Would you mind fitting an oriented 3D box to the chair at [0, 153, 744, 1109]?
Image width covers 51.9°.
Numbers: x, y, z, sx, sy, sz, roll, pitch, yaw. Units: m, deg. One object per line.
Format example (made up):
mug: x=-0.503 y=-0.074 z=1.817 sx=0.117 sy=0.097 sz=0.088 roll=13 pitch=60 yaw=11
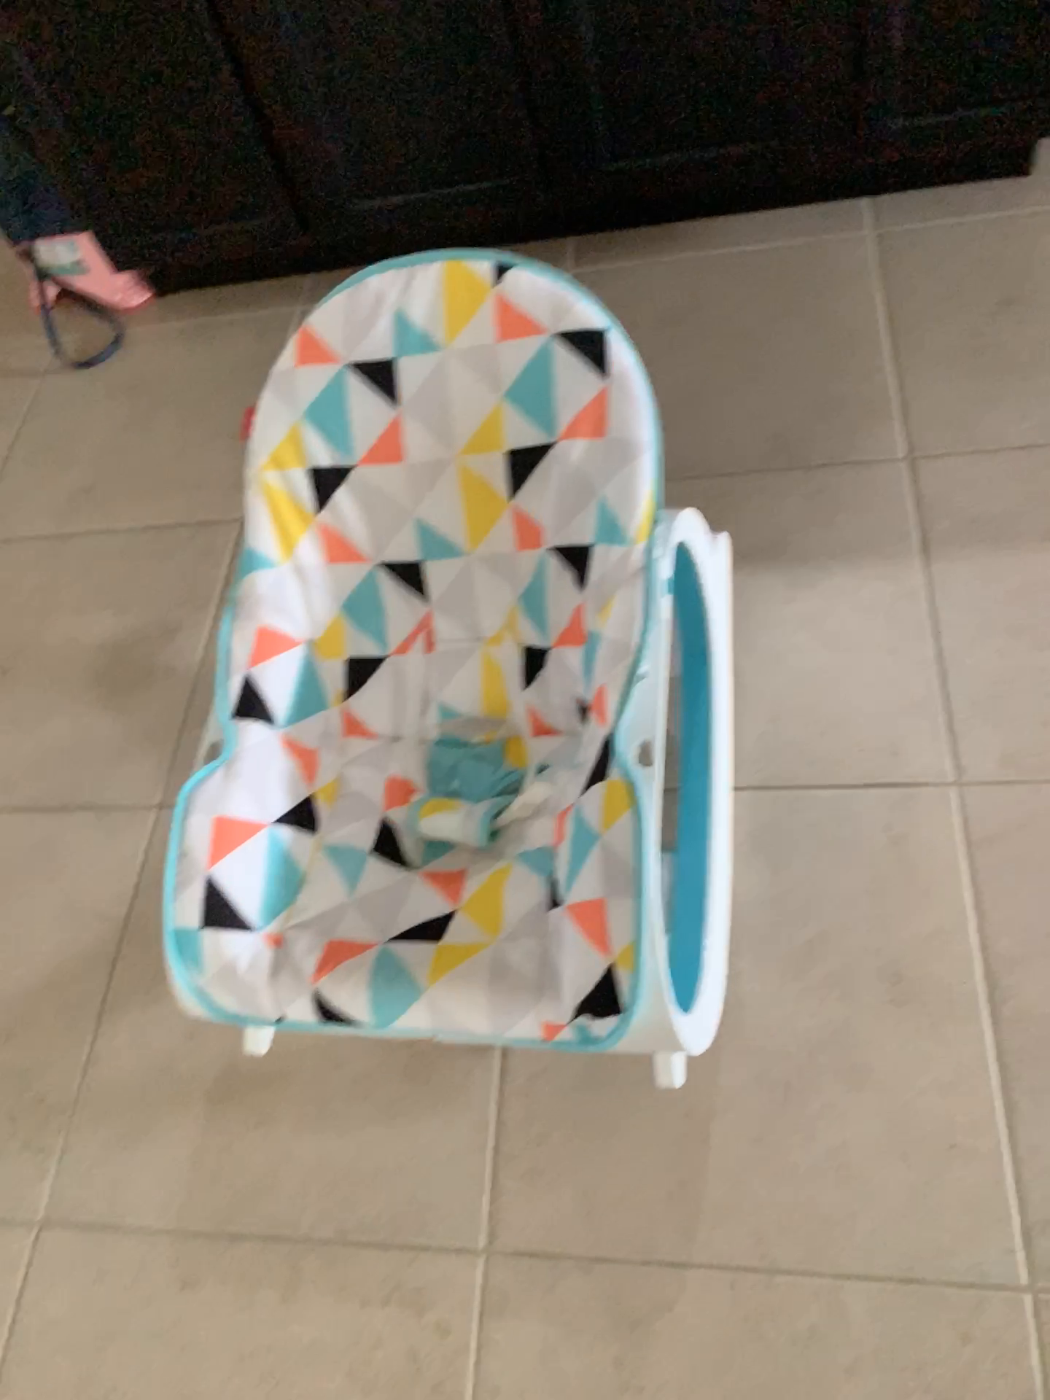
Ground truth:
chair: x=-0.076 y=-0.047 z=1.055 sx=0.530 sy=0.486 sz=0.735 roll=-2 pitch=58 yaw=14
